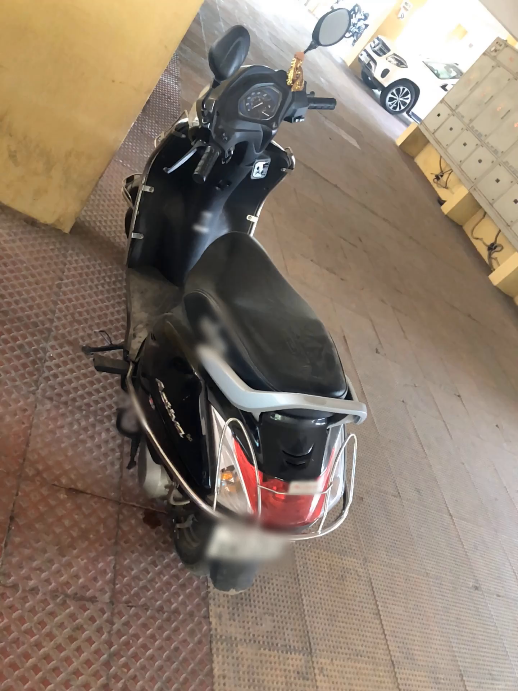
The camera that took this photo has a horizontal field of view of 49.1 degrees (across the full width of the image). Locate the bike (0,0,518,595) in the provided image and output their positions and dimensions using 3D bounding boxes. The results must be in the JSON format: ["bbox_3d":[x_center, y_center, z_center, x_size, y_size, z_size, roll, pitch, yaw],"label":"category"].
[{"bbox_3d":[-0.224,-0.259,1.697,0.609,1.173,1.444,14,43,-41],"label":"bike"}]
